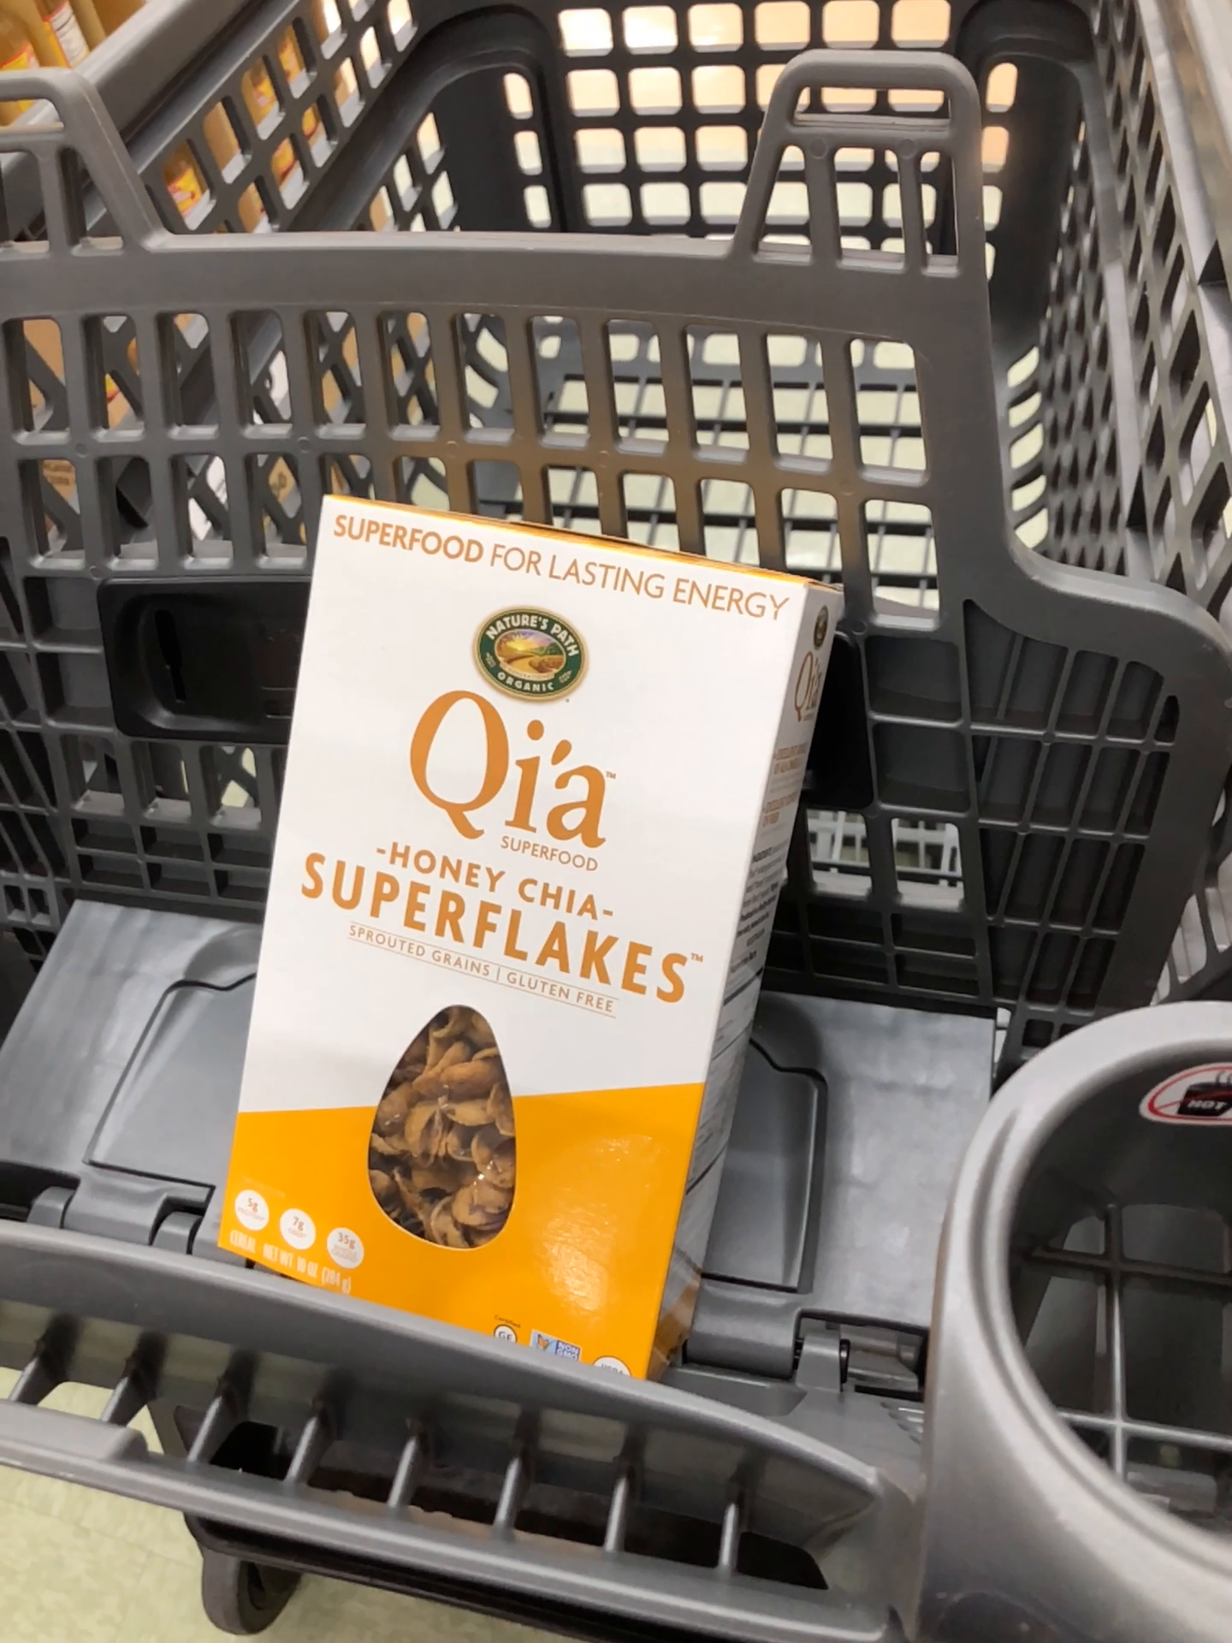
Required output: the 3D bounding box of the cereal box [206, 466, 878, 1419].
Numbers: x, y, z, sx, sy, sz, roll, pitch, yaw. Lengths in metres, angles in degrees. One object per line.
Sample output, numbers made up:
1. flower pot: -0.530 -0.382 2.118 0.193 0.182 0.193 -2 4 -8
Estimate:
1. cereal box: -0.028 0.033 0.449 0.160 0.070 0.260 15 101 18
